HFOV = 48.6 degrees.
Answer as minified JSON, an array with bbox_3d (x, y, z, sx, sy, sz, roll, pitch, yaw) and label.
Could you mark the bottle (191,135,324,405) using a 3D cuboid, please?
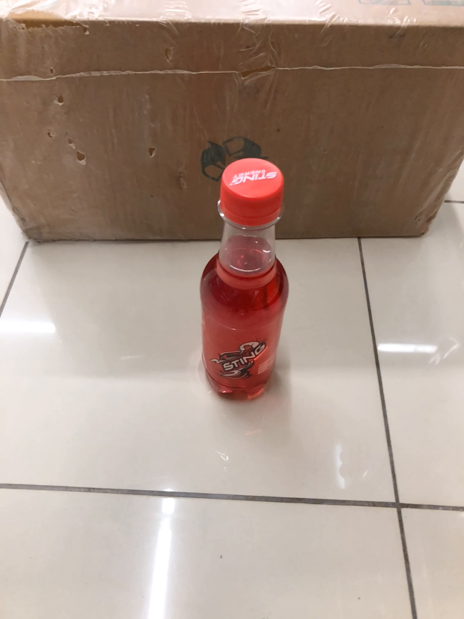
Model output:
[{"bbox_3d":[0.010,-0.011,0.320,0.060,0.179,0.060,1,52,-1],"label":"bottle"}]
